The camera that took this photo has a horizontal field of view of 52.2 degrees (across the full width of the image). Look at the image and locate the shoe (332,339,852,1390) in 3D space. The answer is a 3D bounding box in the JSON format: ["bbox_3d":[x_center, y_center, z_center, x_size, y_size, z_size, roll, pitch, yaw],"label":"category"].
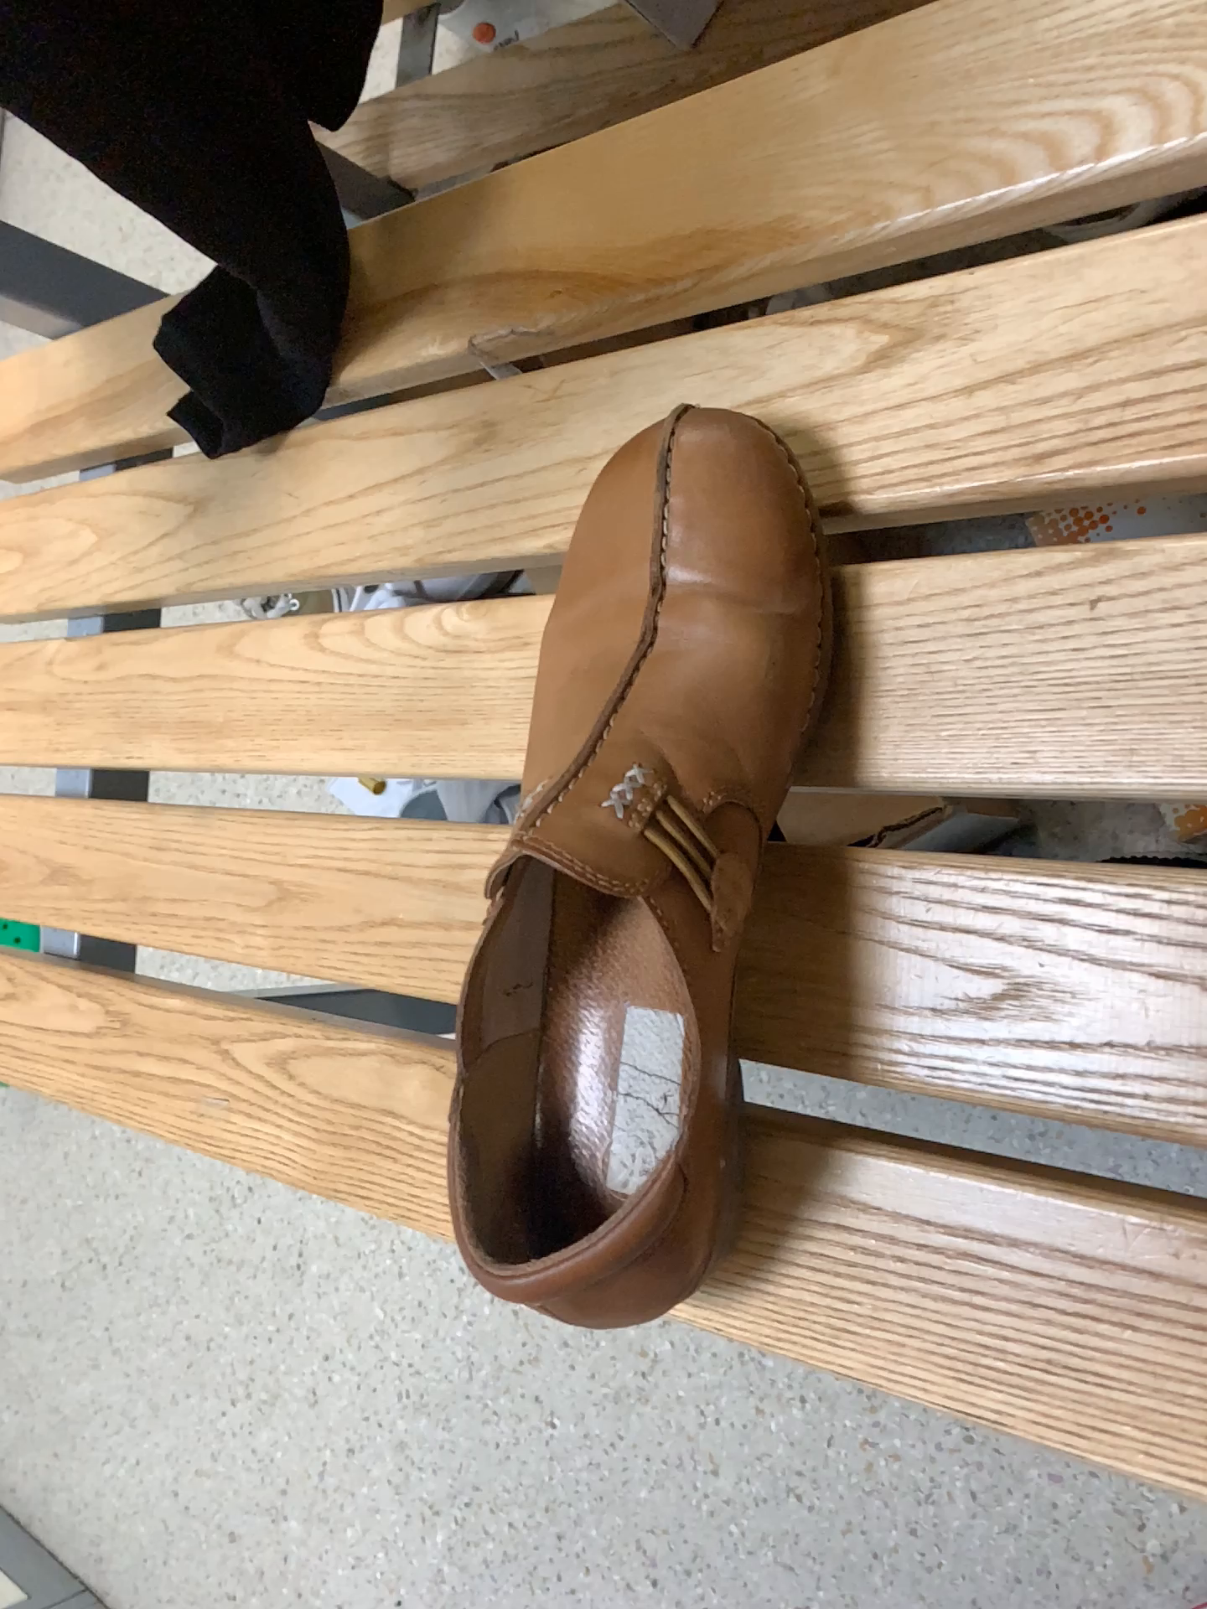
[{"bbox_3d":[-0.002,0.014,0.355,0.112,0.085,0.245,-1,85,38],"label":"shoe"}]
